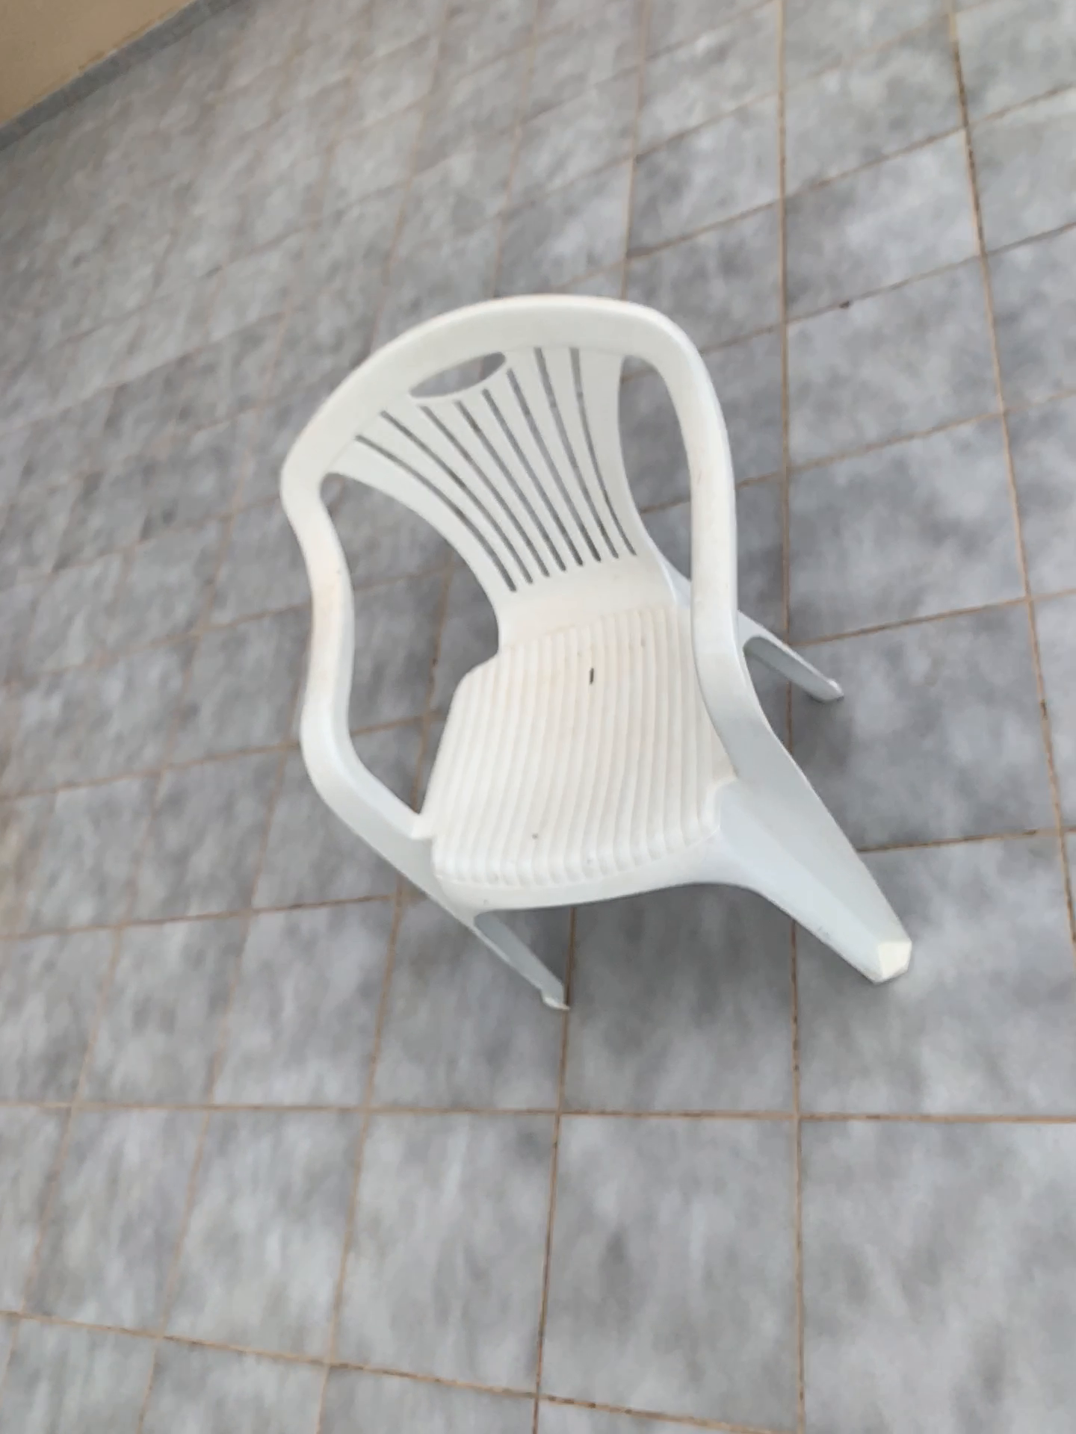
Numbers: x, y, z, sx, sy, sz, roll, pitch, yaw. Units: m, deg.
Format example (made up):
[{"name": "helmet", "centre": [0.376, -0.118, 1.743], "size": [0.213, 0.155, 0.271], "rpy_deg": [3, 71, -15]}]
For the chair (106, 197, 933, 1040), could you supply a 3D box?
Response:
[{"name": "chair", "centre": [0.037, -0.022, 1.255], "size": [0.572, 0.666, 0.561], "rpy_deg": [-14, 56, 26]}]
